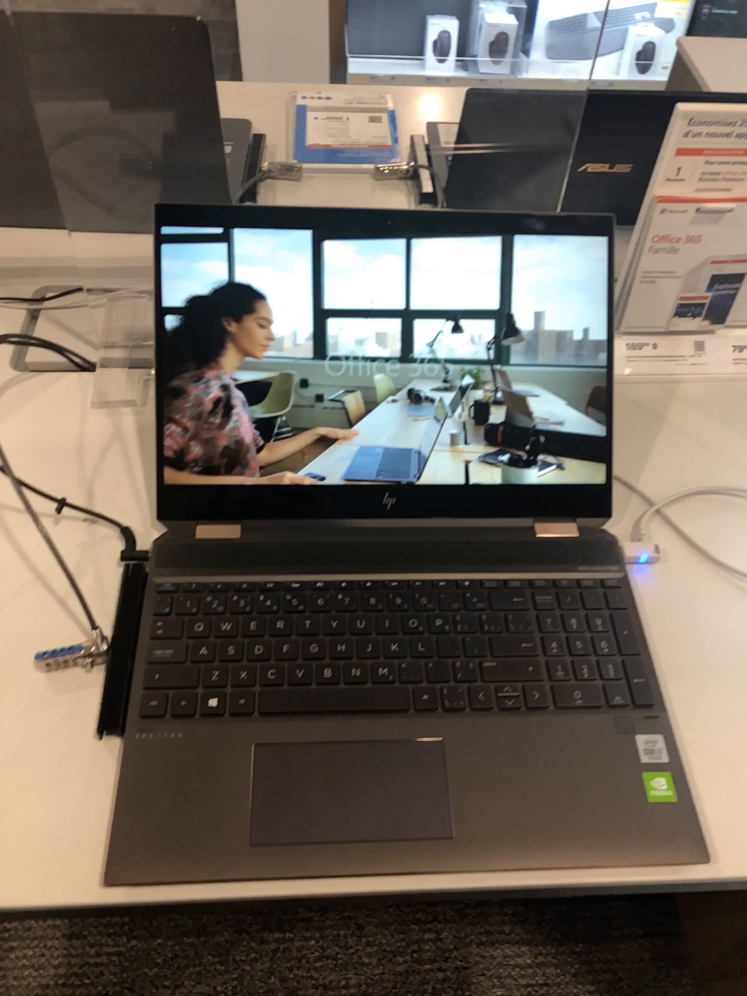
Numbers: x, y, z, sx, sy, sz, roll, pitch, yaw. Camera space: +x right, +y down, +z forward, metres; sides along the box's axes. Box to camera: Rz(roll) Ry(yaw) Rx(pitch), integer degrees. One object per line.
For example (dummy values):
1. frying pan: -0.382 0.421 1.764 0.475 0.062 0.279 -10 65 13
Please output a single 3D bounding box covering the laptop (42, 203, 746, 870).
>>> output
1. laptop: 0.015 -0.005 0.537 0.333 0.145 0.426 0 52 -2
